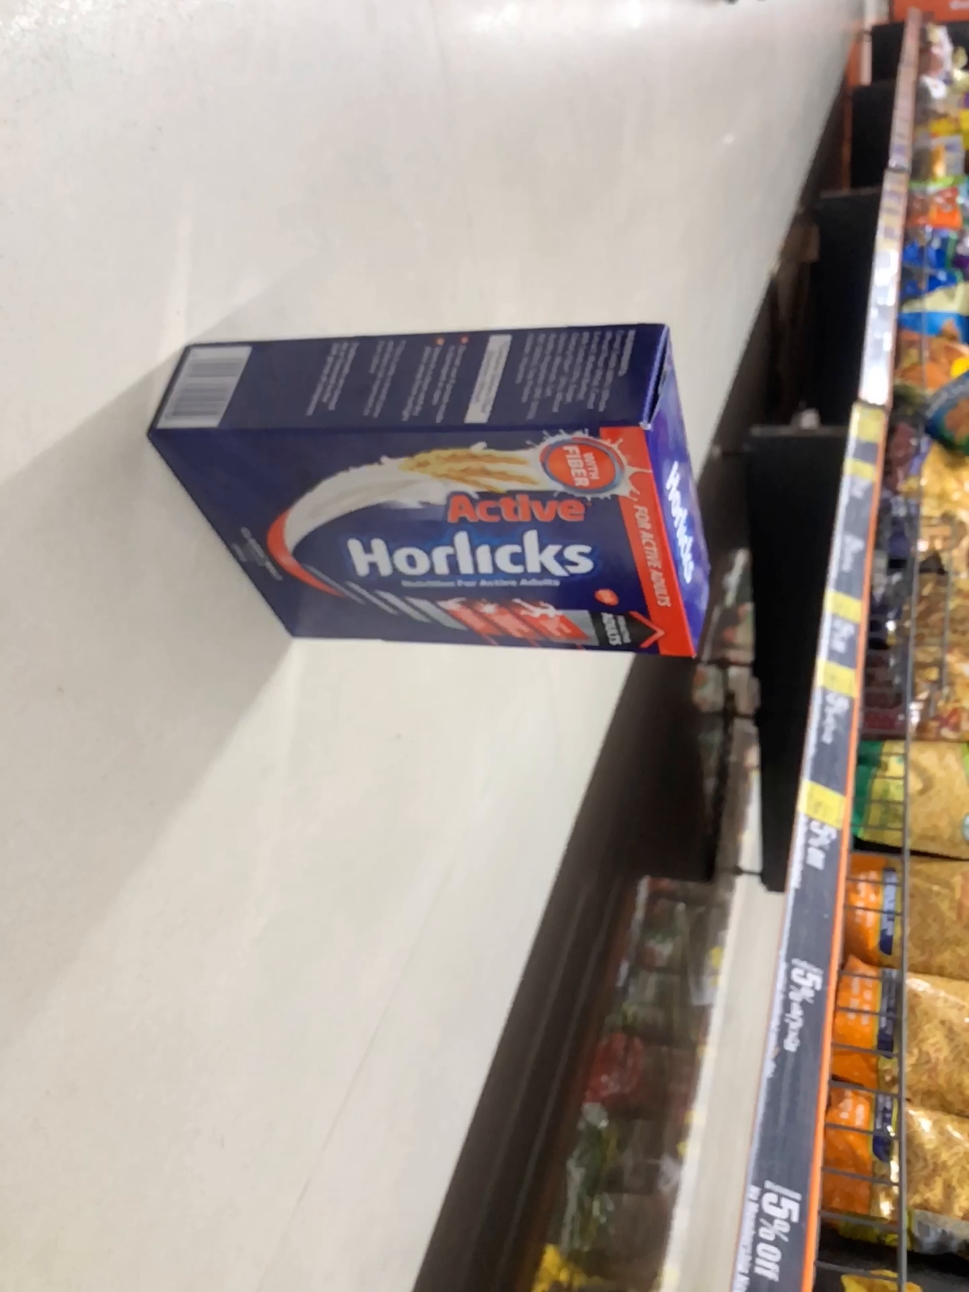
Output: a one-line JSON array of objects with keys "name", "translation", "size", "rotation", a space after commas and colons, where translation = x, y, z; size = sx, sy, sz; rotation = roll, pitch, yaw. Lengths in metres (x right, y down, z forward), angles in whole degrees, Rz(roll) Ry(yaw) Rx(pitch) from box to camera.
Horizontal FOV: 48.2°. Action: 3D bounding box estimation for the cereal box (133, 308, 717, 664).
[{"name": "cereal box", "translation": [-0.013, -0.056, 0.428], "size": [0.141, 0.189, 0.050], "rotation": [64, 34, -53]}]
